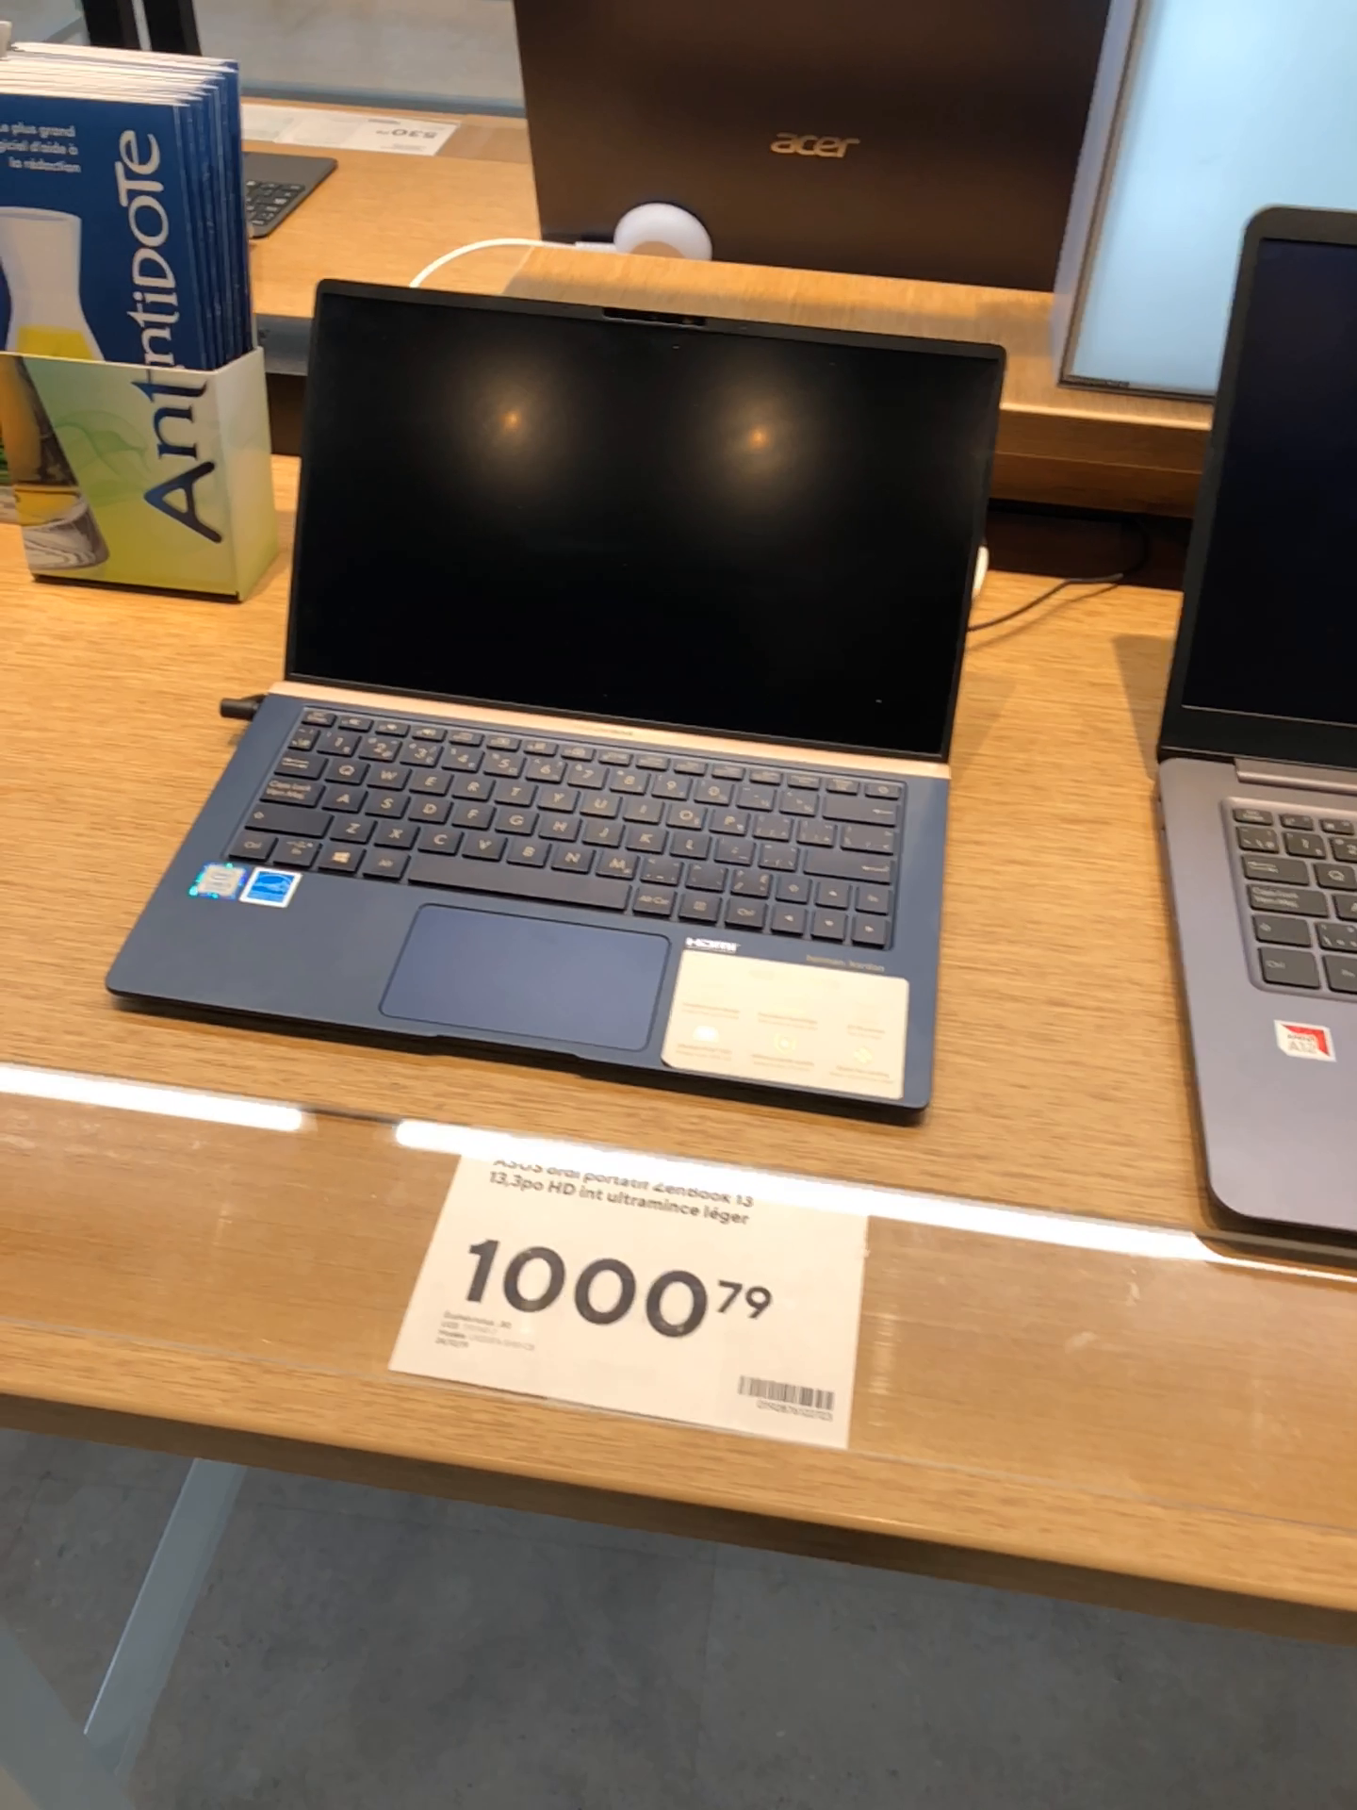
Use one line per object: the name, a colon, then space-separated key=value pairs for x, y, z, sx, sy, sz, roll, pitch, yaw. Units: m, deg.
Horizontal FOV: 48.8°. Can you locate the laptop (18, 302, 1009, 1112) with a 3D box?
laptop: x=-0.034 y=-0.092 z=0.567 sx=0.276 sy=0.130 sz=0.277 roll=8 pitch=47 yaw=7
